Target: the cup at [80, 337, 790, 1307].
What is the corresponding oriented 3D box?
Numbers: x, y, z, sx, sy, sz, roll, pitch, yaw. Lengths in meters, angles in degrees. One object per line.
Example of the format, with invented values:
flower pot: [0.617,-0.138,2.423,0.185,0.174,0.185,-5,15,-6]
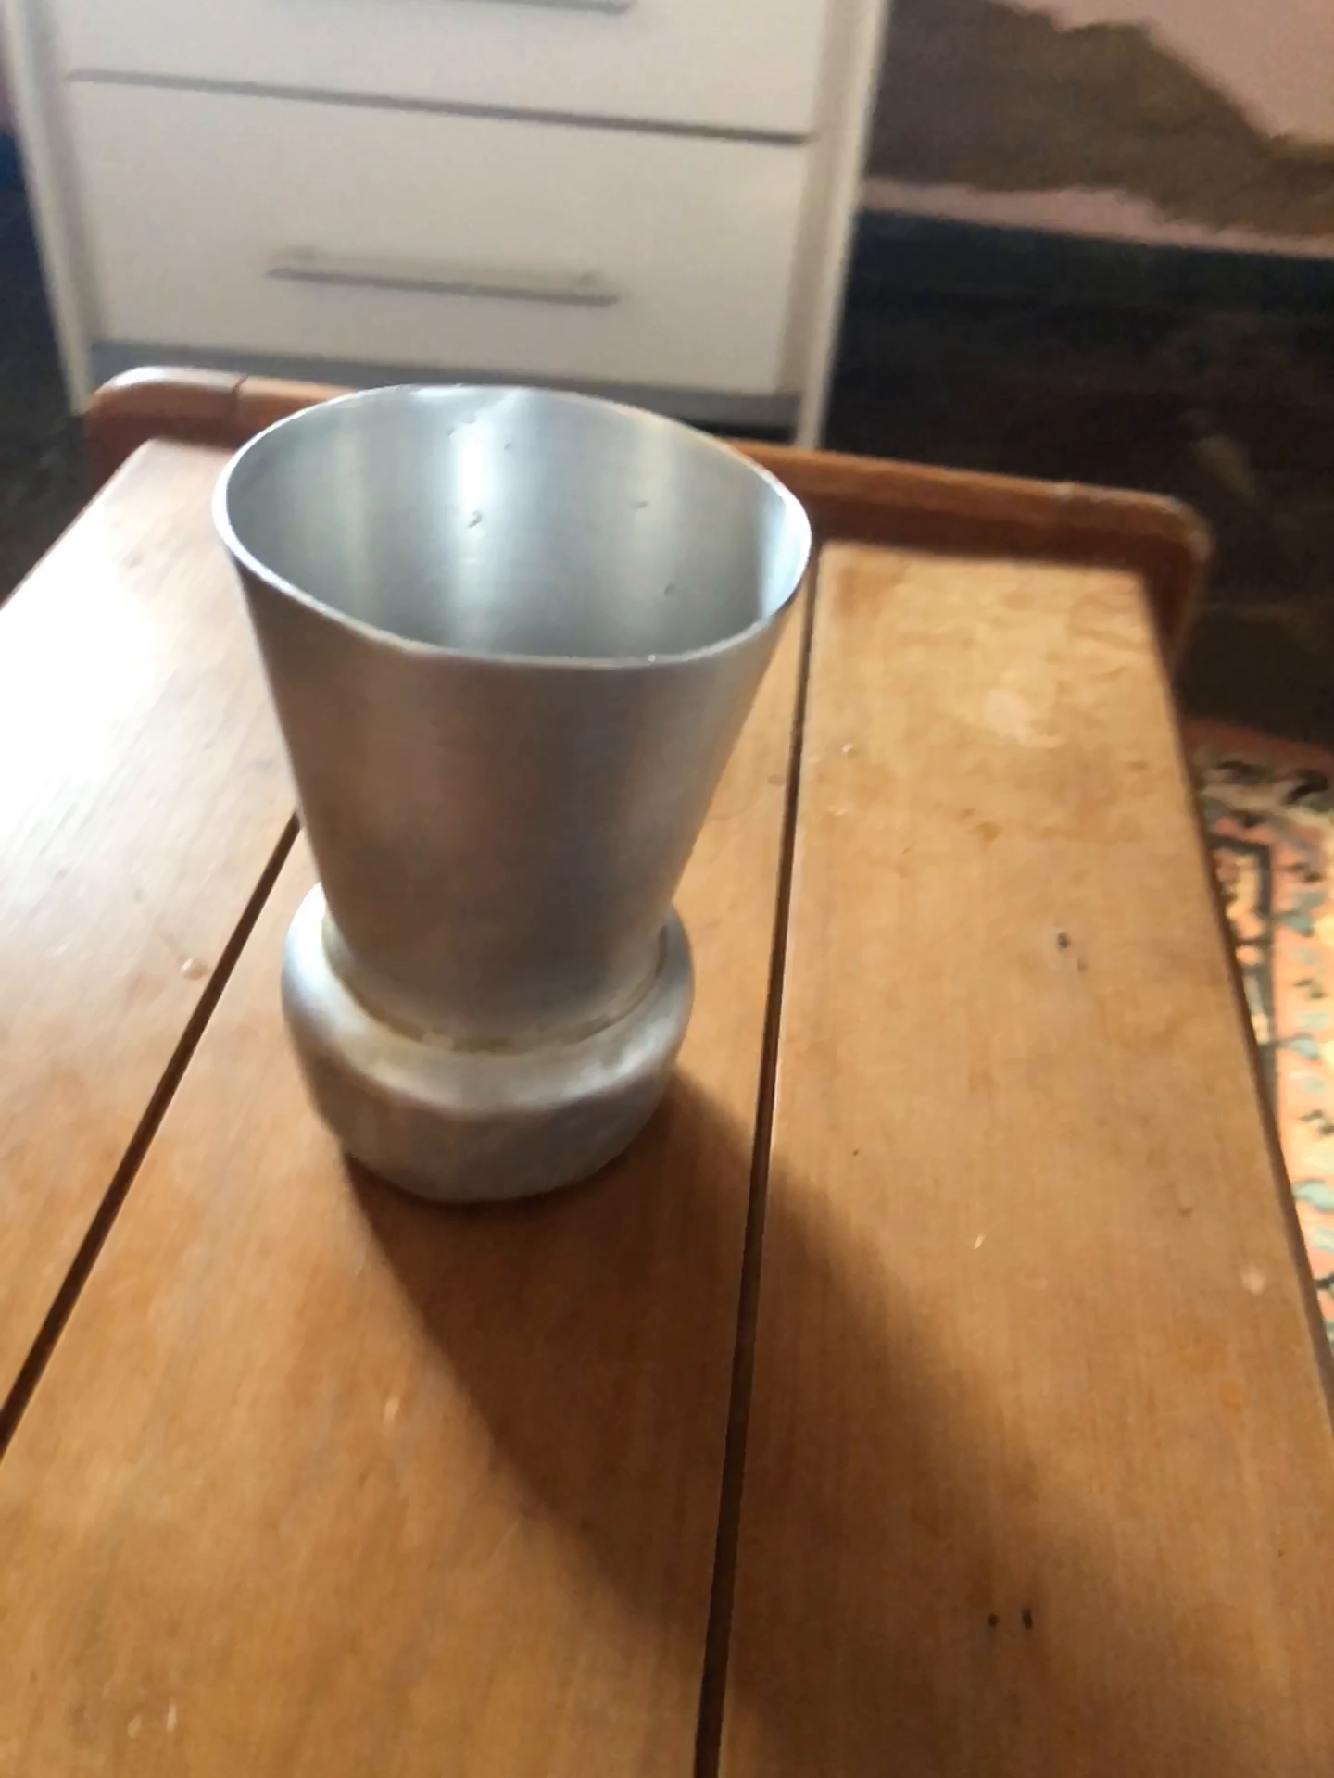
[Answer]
cup: [-0.025,-0.006,0.209,0.070,0.109,0.071,4,41,-3]
